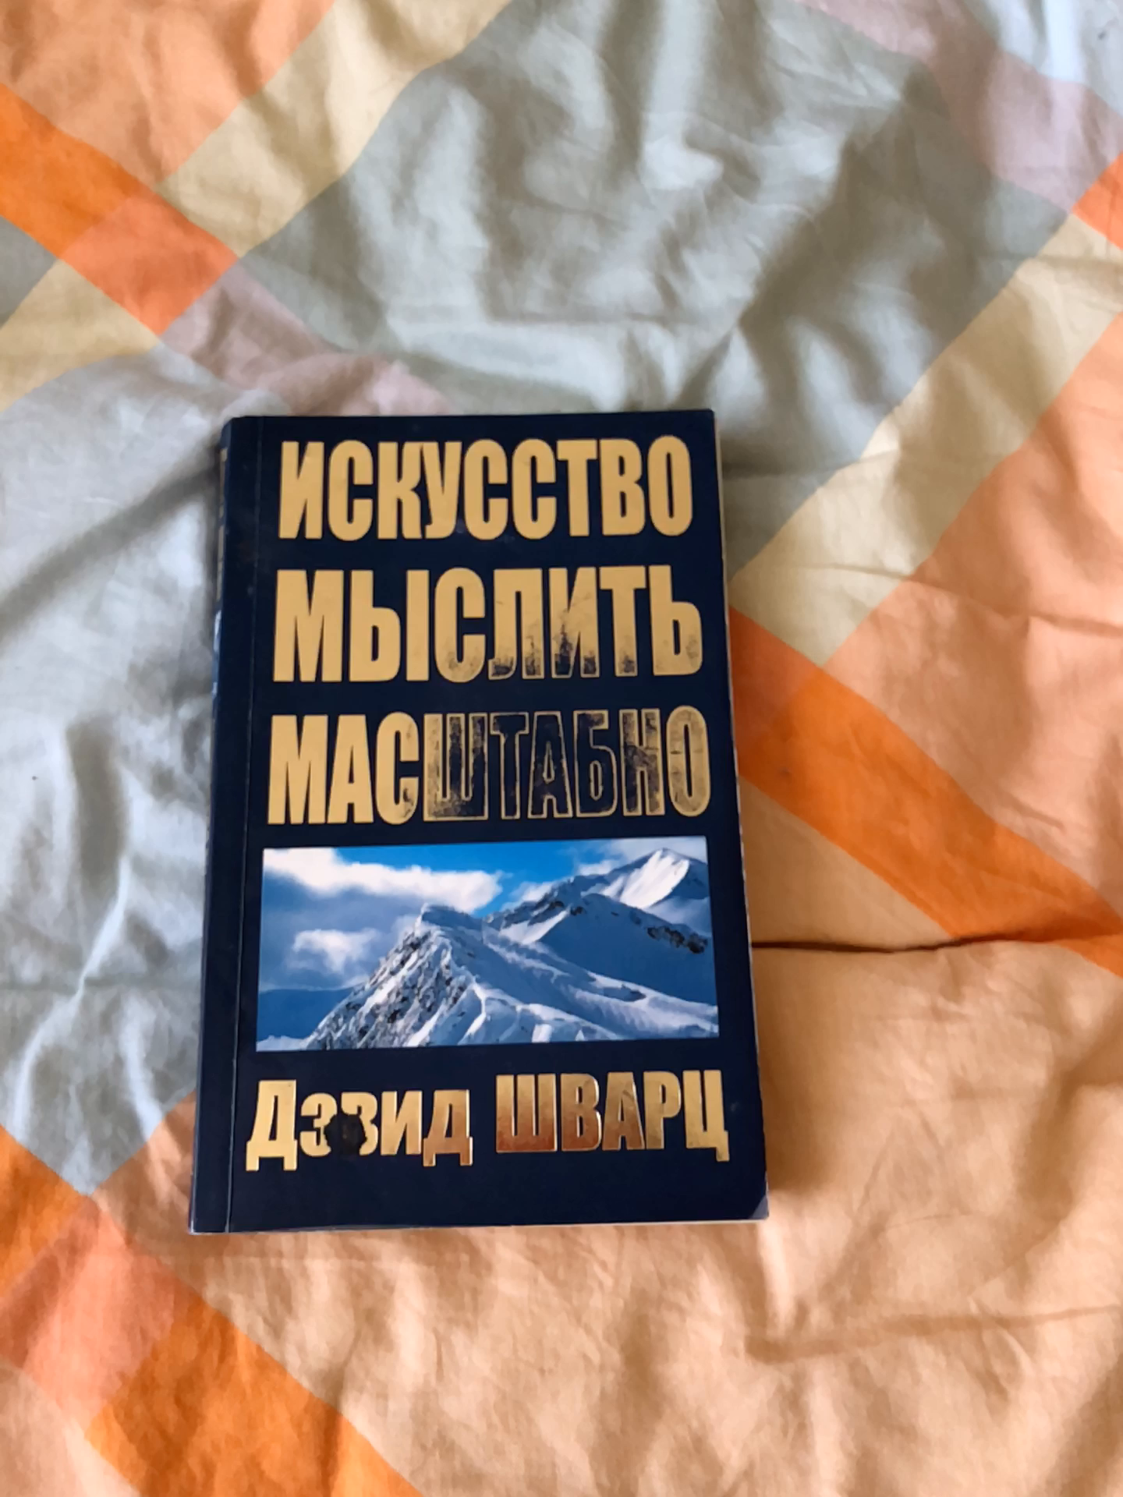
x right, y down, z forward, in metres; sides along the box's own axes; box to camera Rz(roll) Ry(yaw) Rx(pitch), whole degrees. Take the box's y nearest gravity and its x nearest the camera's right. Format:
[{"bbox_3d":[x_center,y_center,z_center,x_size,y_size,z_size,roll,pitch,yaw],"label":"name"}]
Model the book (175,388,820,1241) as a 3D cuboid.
[{"bbox_3d":[-0.015,0.009,0.286,0.127,0.028,0.189,-1,73,-1],"label":"book"}]
